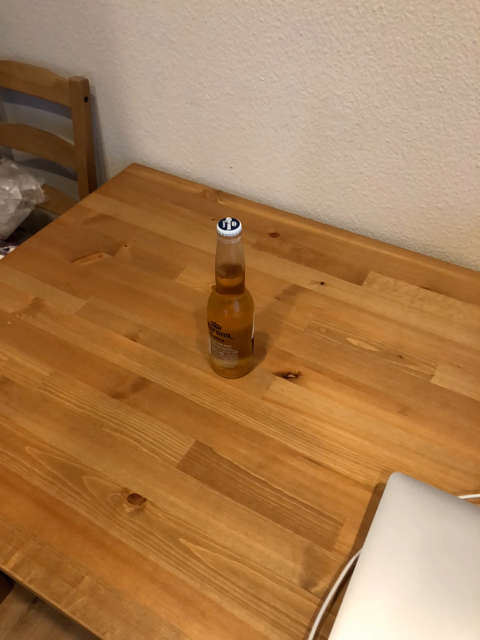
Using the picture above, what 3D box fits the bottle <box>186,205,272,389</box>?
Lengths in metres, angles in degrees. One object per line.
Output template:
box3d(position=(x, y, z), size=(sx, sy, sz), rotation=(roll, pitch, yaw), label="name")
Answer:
box3d(position=(-0.013, -0.022, 0.676), size=(0.070, 0.229, 0.070), rotation=(0, 45, 0), label="bottle")
